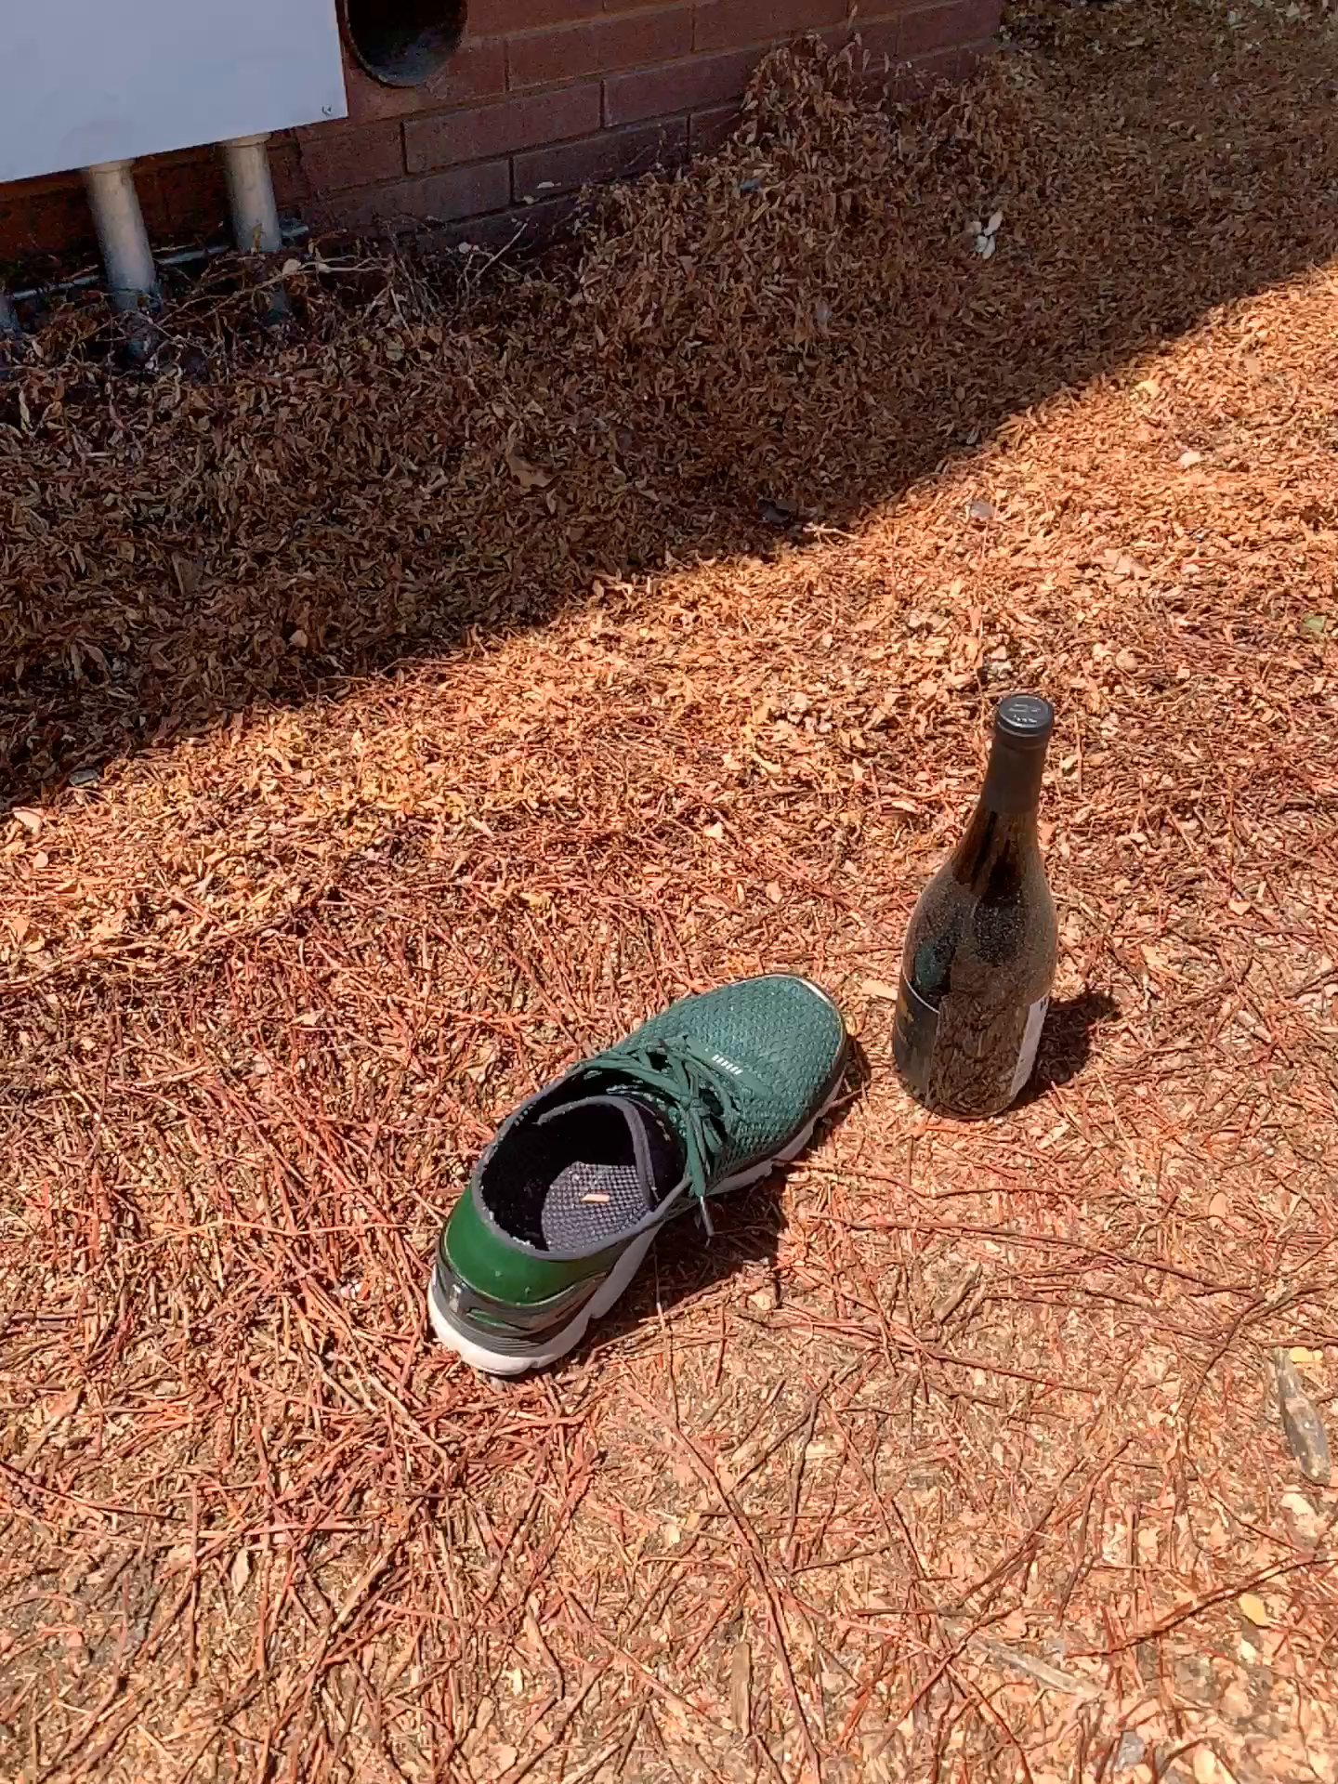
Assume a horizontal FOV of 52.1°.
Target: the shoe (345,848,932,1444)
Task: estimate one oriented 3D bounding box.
[{"bbox_3d":[-0.005,0.123,0.759,0.130,0.100,0.321,32,52,26],"label":"shoe"}]
